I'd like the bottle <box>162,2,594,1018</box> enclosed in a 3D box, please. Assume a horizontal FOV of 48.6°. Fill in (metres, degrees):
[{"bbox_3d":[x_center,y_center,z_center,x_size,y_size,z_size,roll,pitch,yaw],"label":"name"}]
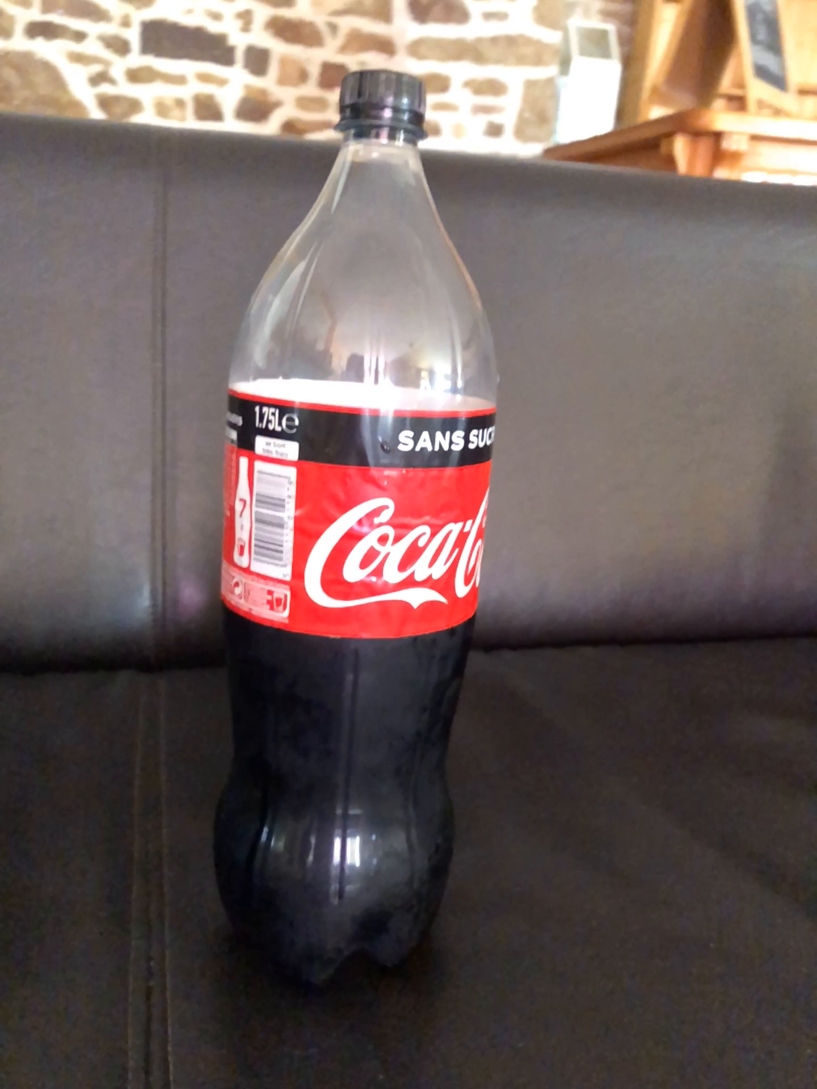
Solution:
[{"bbox_3d":[-0.017,-0.008,0.343,0.100,0.319,0.100,5,15,-1],"label":"bottle"}]
